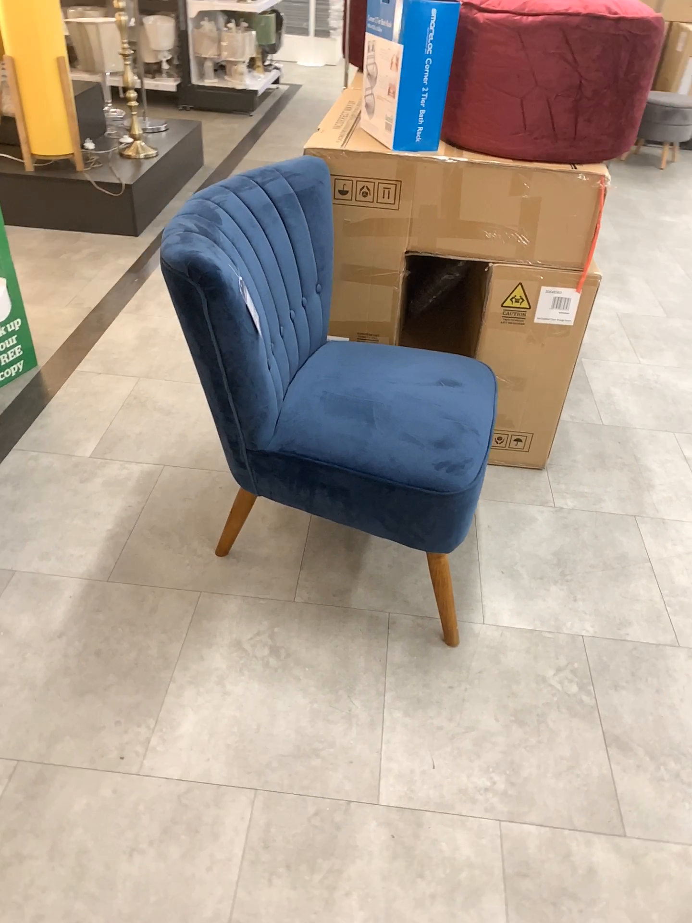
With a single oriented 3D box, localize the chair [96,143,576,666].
[{"bbox_3d":[0.018,-0.163,1.562,0.726,0.790,0.736,10,37,7],"label":"chair"}]
